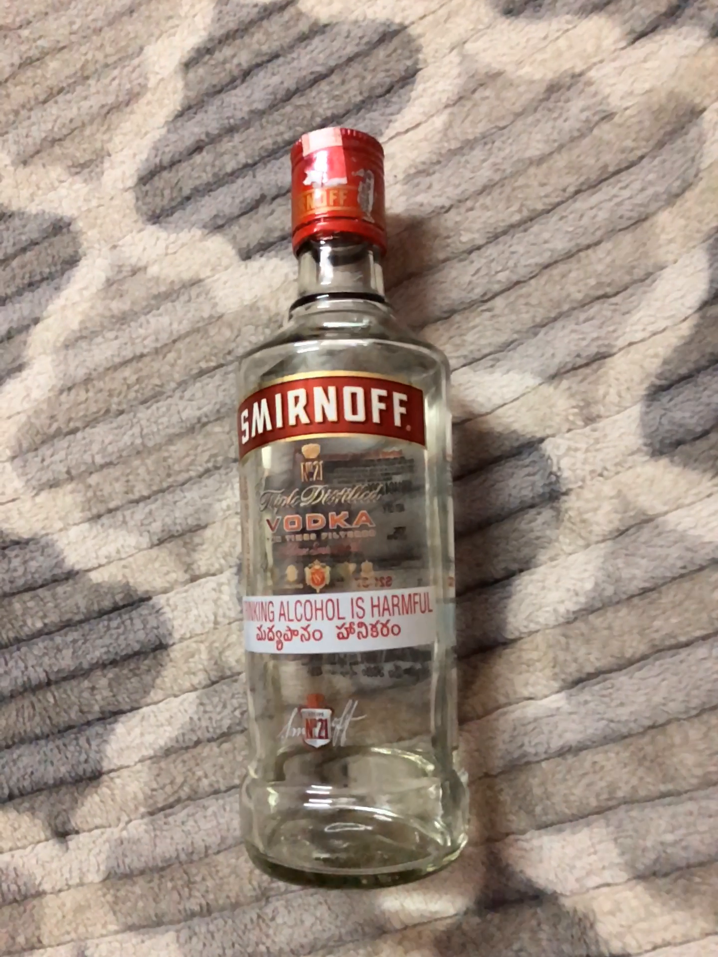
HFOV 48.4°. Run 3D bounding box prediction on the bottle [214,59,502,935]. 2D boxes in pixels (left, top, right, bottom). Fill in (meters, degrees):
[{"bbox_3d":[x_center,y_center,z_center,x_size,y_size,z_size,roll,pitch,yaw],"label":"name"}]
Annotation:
[{"bbox_3d":[0.001,0.002,0.245,0.070,0.060,0.230,-3,82,14],"label":"bottle"}]
